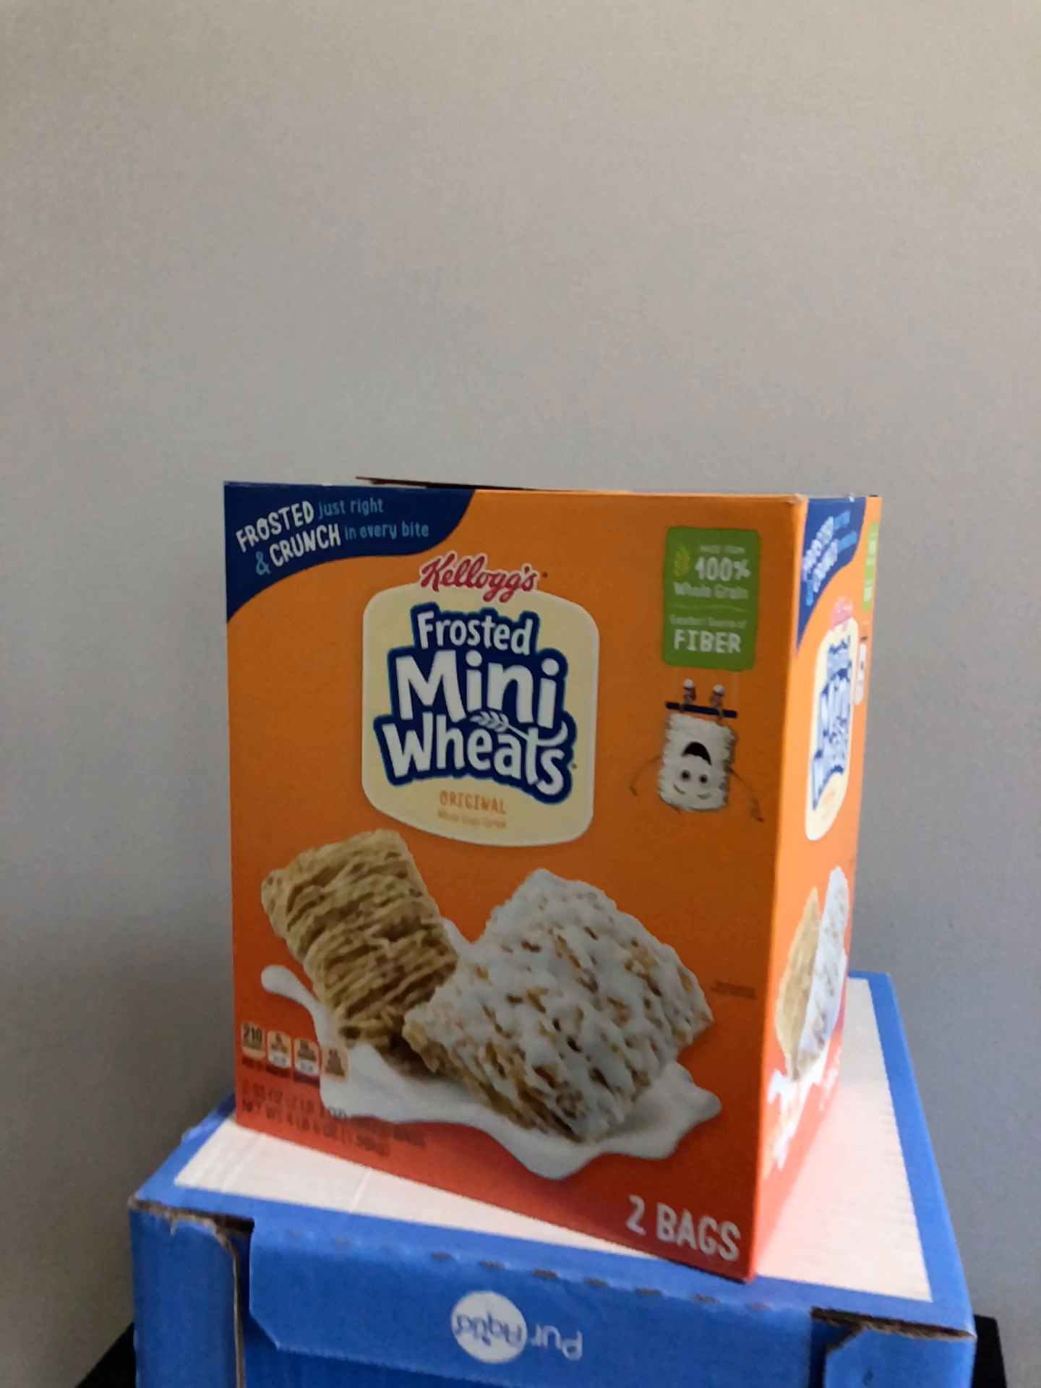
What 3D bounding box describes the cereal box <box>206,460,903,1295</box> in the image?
[{"bbox_3d":[0.017,0.047,0.510,0.250,0.289,0.160,6,11,26],"label":"cereal box"}]
